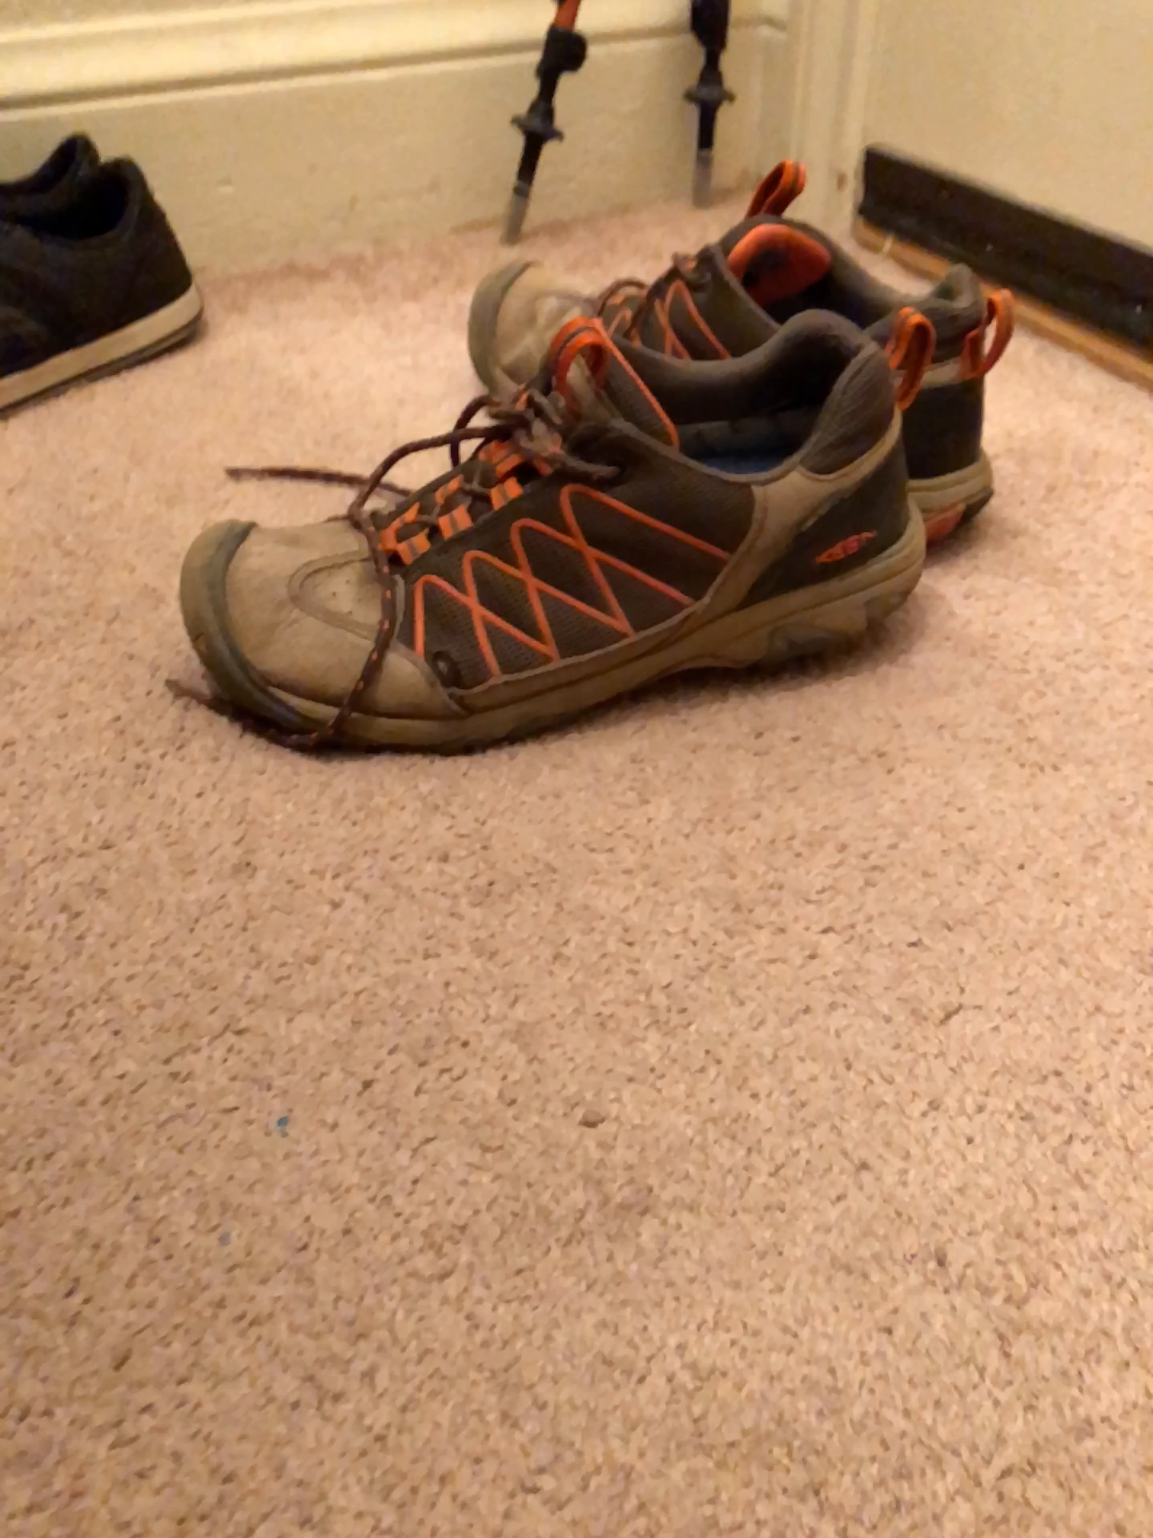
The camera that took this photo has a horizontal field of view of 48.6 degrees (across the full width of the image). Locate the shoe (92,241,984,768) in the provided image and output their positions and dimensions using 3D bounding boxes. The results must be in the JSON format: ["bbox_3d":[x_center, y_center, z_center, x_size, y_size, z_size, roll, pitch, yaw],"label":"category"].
[{"bbox_3d":[-0.014,-0.101,0.472,0.270,0.129,0.121,-5,41,-5],"label":"shoe"}]

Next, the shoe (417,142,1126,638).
[{"bbox_3d":[0.079,-0.197,0.619,0.300,0.129,0.121,27,48,29],"label":"shoe"}]
